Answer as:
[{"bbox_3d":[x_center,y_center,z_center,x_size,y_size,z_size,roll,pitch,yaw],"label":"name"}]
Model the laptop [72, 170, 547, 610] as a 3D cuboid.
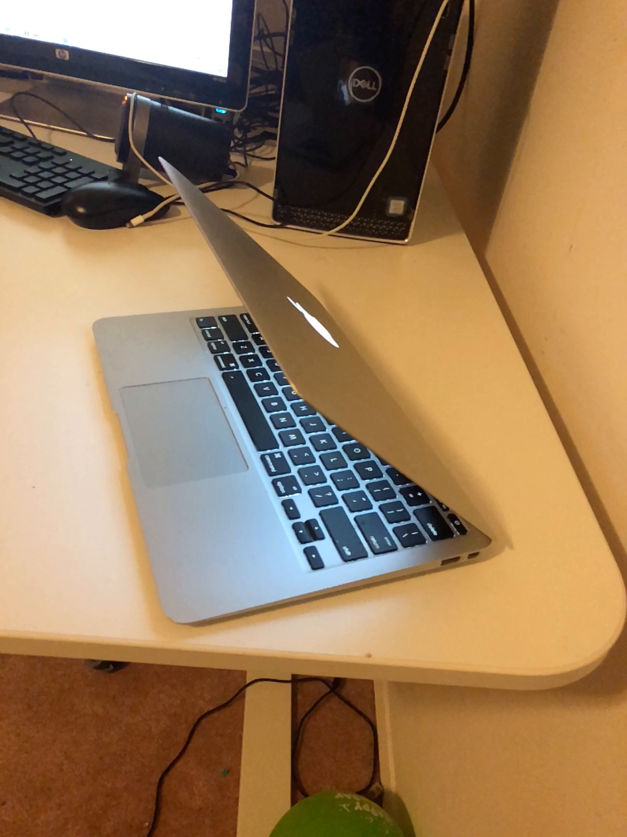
[{"bbox_3d":[-0.033,-0.049,0.438,0.181,0.108,0.287,-10,42,-21],"label":"laptop"}]
